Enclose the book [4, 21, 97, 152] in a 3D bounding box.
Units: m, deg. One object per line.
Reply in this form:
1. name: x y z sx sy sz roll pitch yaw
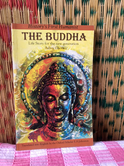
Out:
1. book: -0.016 0.007 0.240 0.146 0.206 0.030 -1 4 -6
